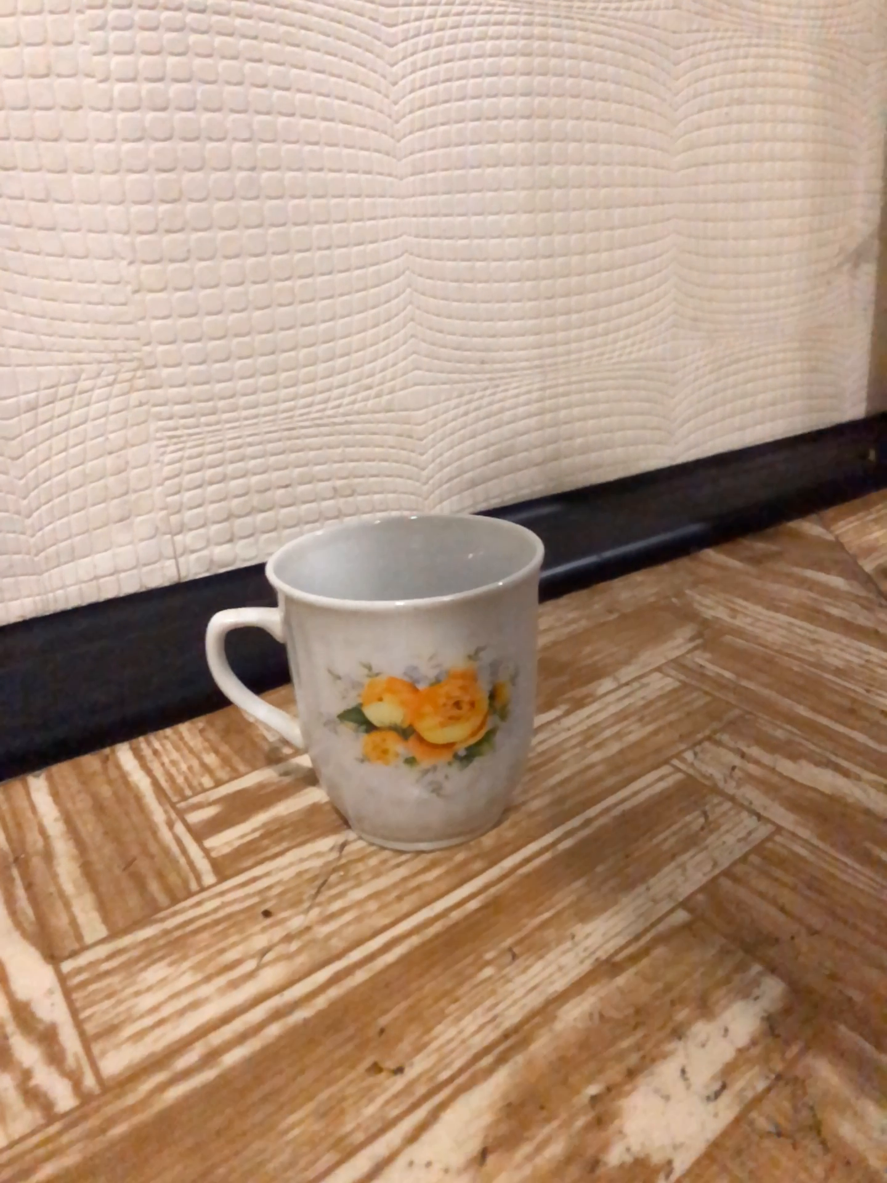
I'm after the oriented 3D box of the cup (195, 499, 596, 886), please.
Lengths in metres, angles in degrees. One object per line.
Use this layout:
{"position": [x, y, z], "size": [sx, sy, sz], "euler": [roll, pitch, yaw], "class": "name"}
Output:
{"position": [-0.017, 0.022, 0.290], "size": [0.097, 0.069, 0.095], "euler": [-3, 19, 1], "class": "cup"}
